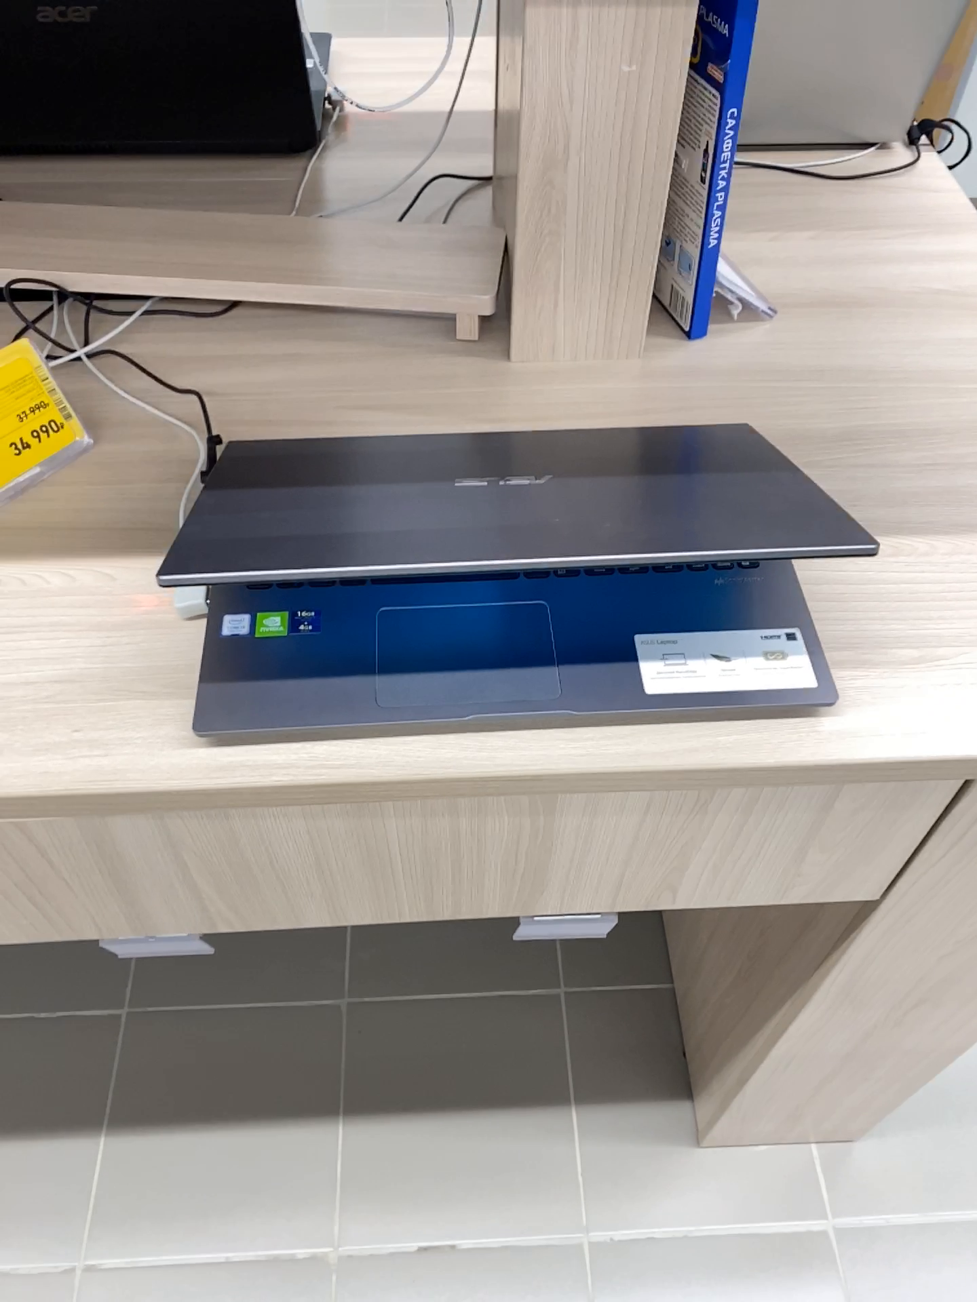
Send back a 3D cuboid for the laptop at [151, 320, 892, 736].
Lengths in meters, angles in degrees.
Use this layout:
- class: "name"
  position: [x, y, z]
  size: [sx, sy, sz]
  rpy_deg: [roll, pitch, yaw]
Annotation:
- class: "laptop"
  position: [0.010, -0.082, 0.579]
  size: [0.352, 0.088, 0.237]
  rpy_deg: [-3, 51, -4]
